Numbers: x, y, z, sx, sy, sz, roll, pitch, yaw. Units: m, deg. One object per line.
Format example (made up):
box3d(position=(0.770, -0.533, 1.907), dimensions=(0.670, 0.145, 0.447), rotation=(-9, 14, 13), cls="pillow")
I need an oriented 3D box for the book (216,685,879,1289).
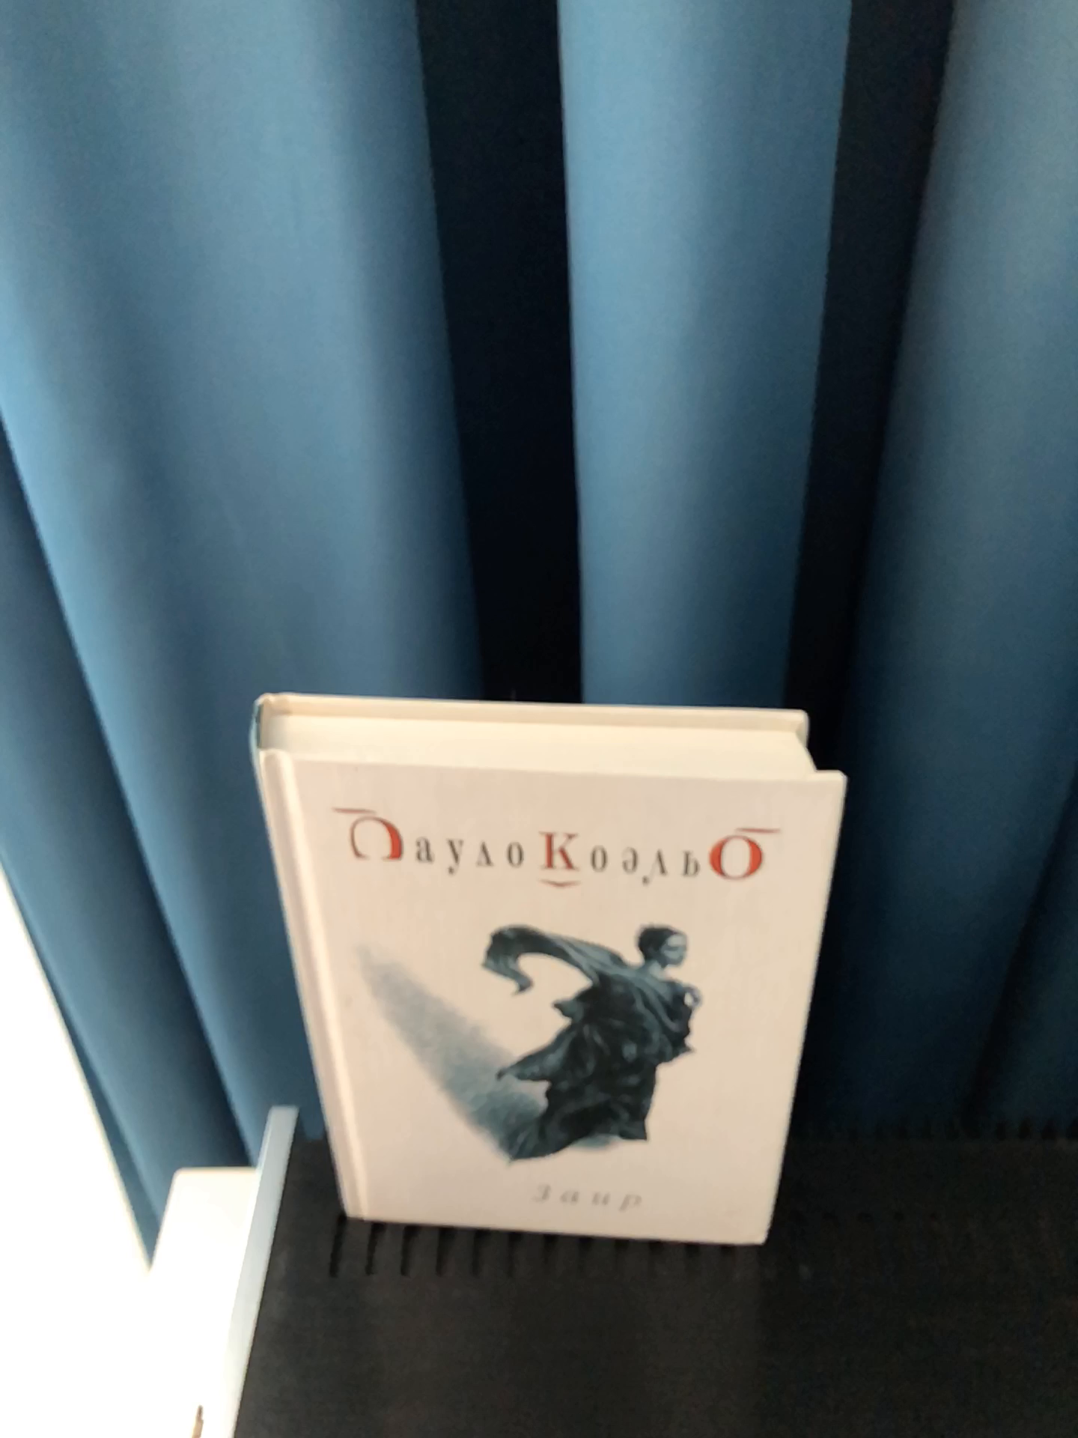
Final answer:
box3d(position=(0.005, 0.075, 0.302), dimensions=(0.130, 0.179, 0.030), rotation=(2, 37, 6), cls="book")
